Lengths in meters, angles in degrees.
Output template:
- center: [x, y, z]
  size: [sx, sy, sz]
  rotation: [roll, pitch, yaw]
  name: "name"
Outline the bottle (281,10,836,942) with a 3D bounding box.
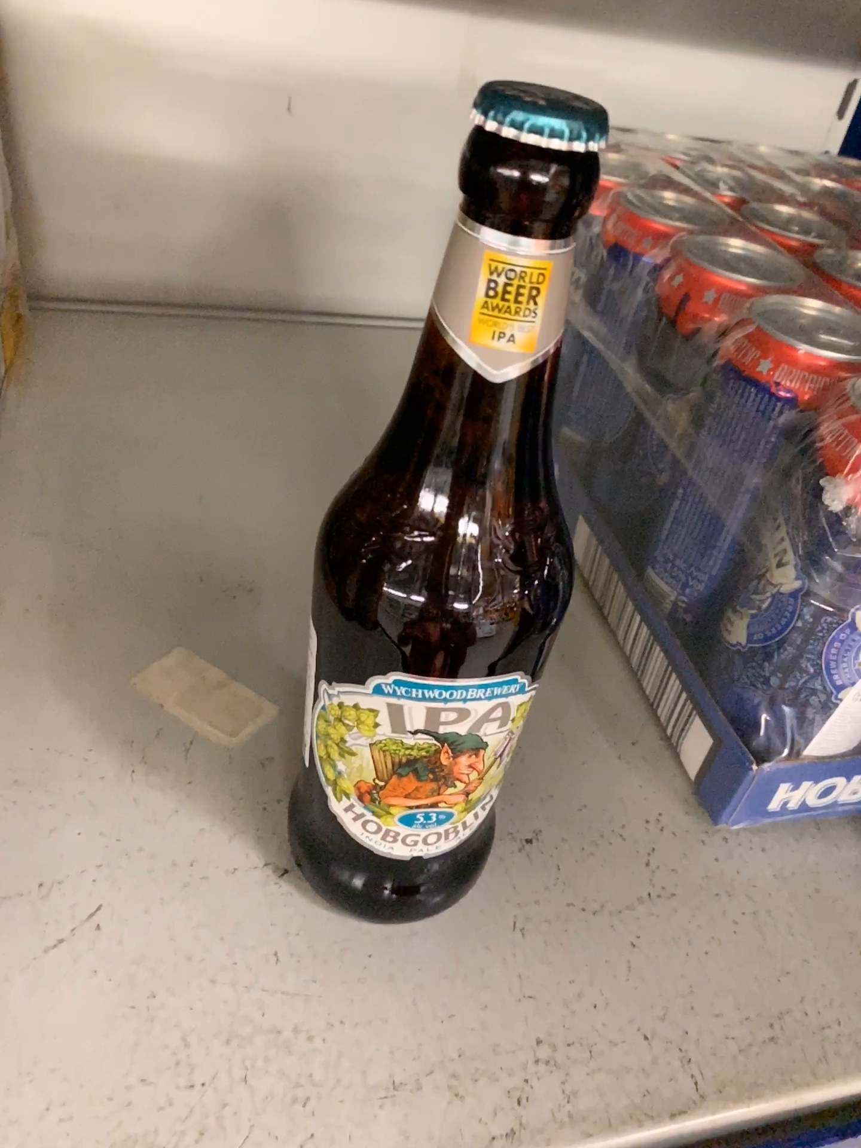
- center: [0.006, -0.001, 0.251]
  size: [0.080, 0.249, 0.080]
  rotation: [7, 38, -5]
  name: "bottle"
